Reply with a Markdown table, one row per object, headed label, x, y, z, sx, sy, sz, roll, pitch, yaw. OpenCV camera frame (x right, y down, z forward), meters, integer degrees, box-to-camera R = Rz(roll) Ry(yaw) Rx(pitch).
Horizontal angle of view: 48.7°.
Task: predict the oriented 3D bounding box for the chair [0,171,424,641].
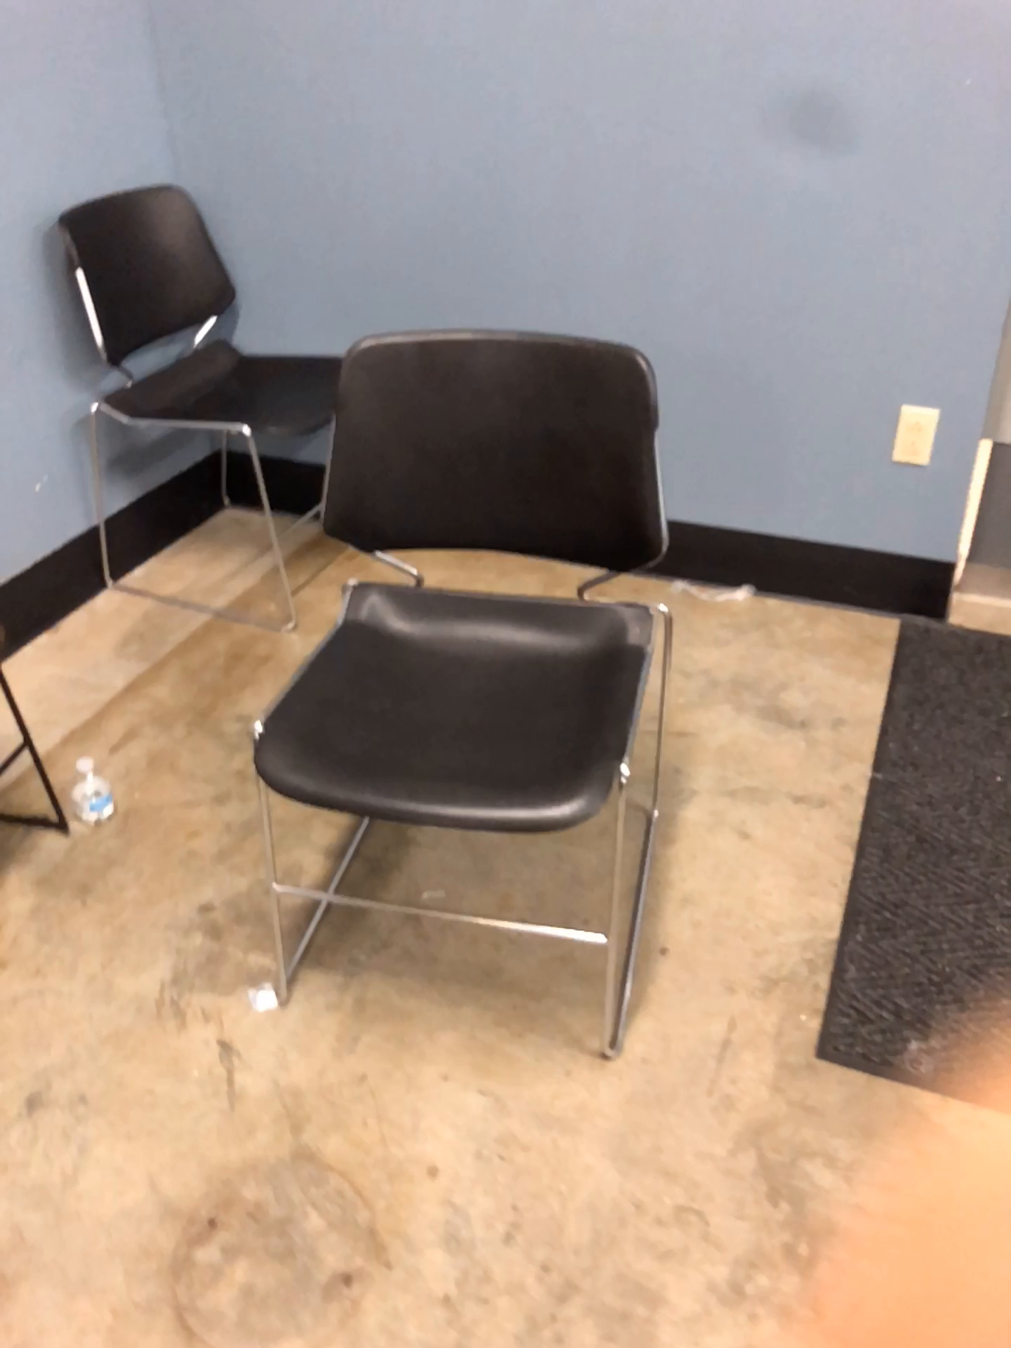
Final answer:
| label | x | y | z | sx | sy | sz | roll | pitch | yaw |
| --- | --- | --- | --- | --- | --- | --- | --- | --- | --- |
| chair | -0.593 | -0.601 | 2.420 | 0.595 | 0.799 | 0.552 | 12 | 35 | 20 |

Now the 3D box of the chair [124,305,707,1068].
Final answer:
| label | x | y | z | sx | sy | sz | roll | pitch | yaw |
| --- | --- | --- | --- | --- | --- | --- | --- | --- | --- |
| chair | -0.048 | -0.004 | 1.490 | 0.531 | 0.799 | 0.546 | 6 | 33 | 12 |
